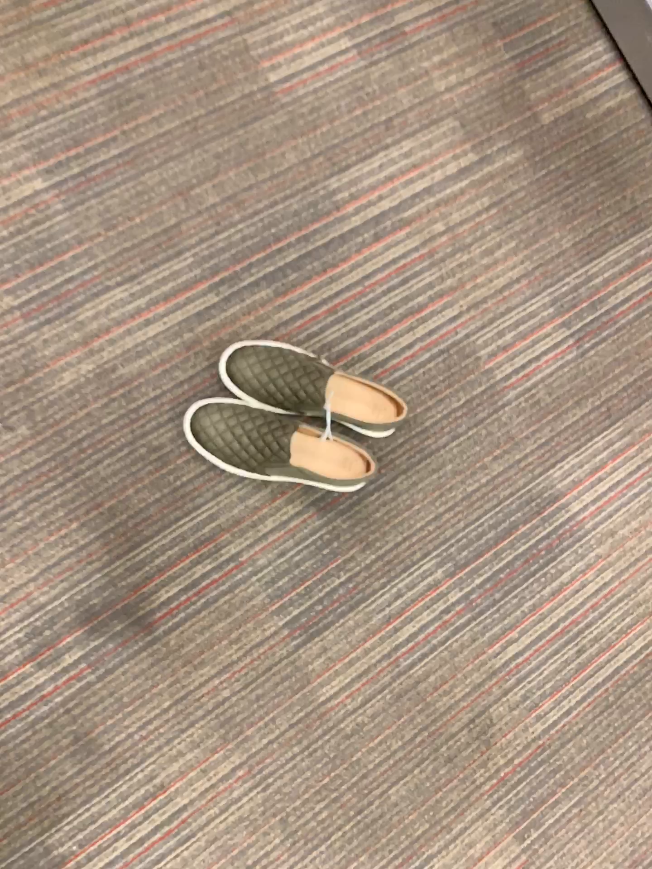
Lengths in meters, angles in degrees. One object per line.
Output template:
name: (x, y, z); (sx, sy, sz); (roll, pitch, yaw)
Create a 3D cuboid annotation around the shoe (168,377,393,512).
shoe: (-0.068, 0.020, 0.965); (0.290, 0.110, 0.100); (18, 81, -11)

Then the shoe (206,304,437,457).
shoe: (-0.011, -0.067, 0.959); (0.290, 0.130, 0.100); (20, 81, -11)
